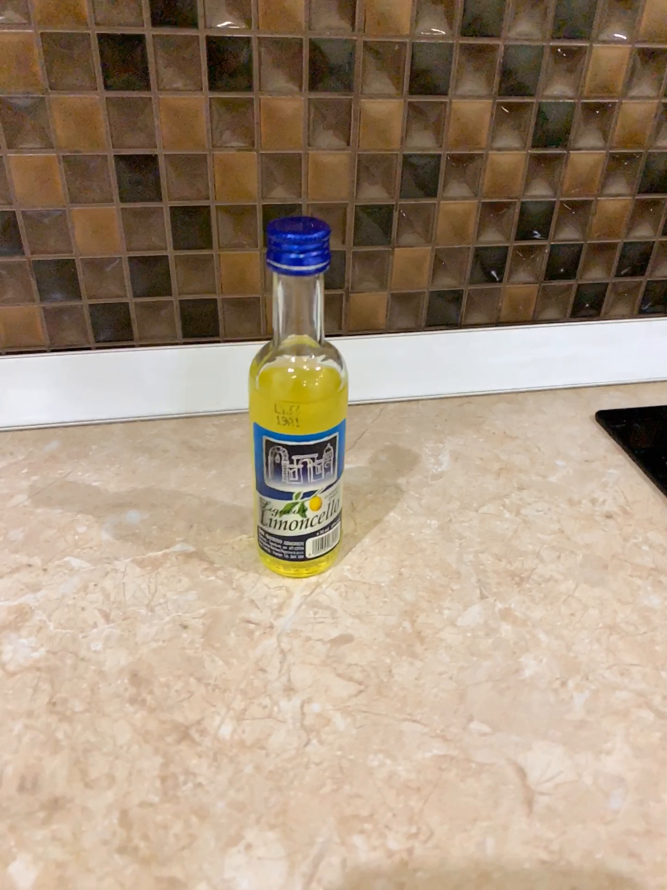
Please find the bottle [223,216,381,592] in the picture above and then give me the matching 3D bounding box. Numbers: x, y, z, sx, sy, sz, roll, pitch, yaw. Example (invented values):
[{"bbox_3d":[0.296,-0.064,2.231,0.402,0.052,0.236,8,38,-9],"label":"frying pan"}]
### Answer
[{"bbox_3d":[-0.012,-0.009,0.225,0.039,0.119,0.033,-5,35,-11],"label":"bottle"}]
